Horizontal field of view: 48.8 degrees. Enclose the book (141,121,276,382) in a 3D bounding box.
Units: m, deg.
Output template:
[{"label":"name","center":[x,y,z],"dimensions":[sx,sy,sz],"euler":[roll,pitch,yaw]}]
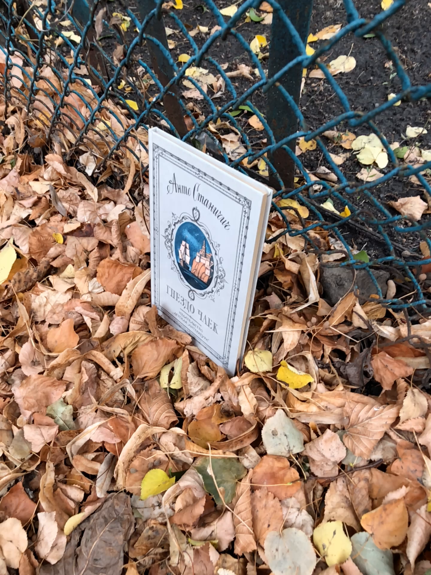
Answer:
[{"label":"book","center":[-0.014,-0.024,0.413],"dimensions":[0.016,0.199,0.128],"euler":[-30,51,-32]}]
